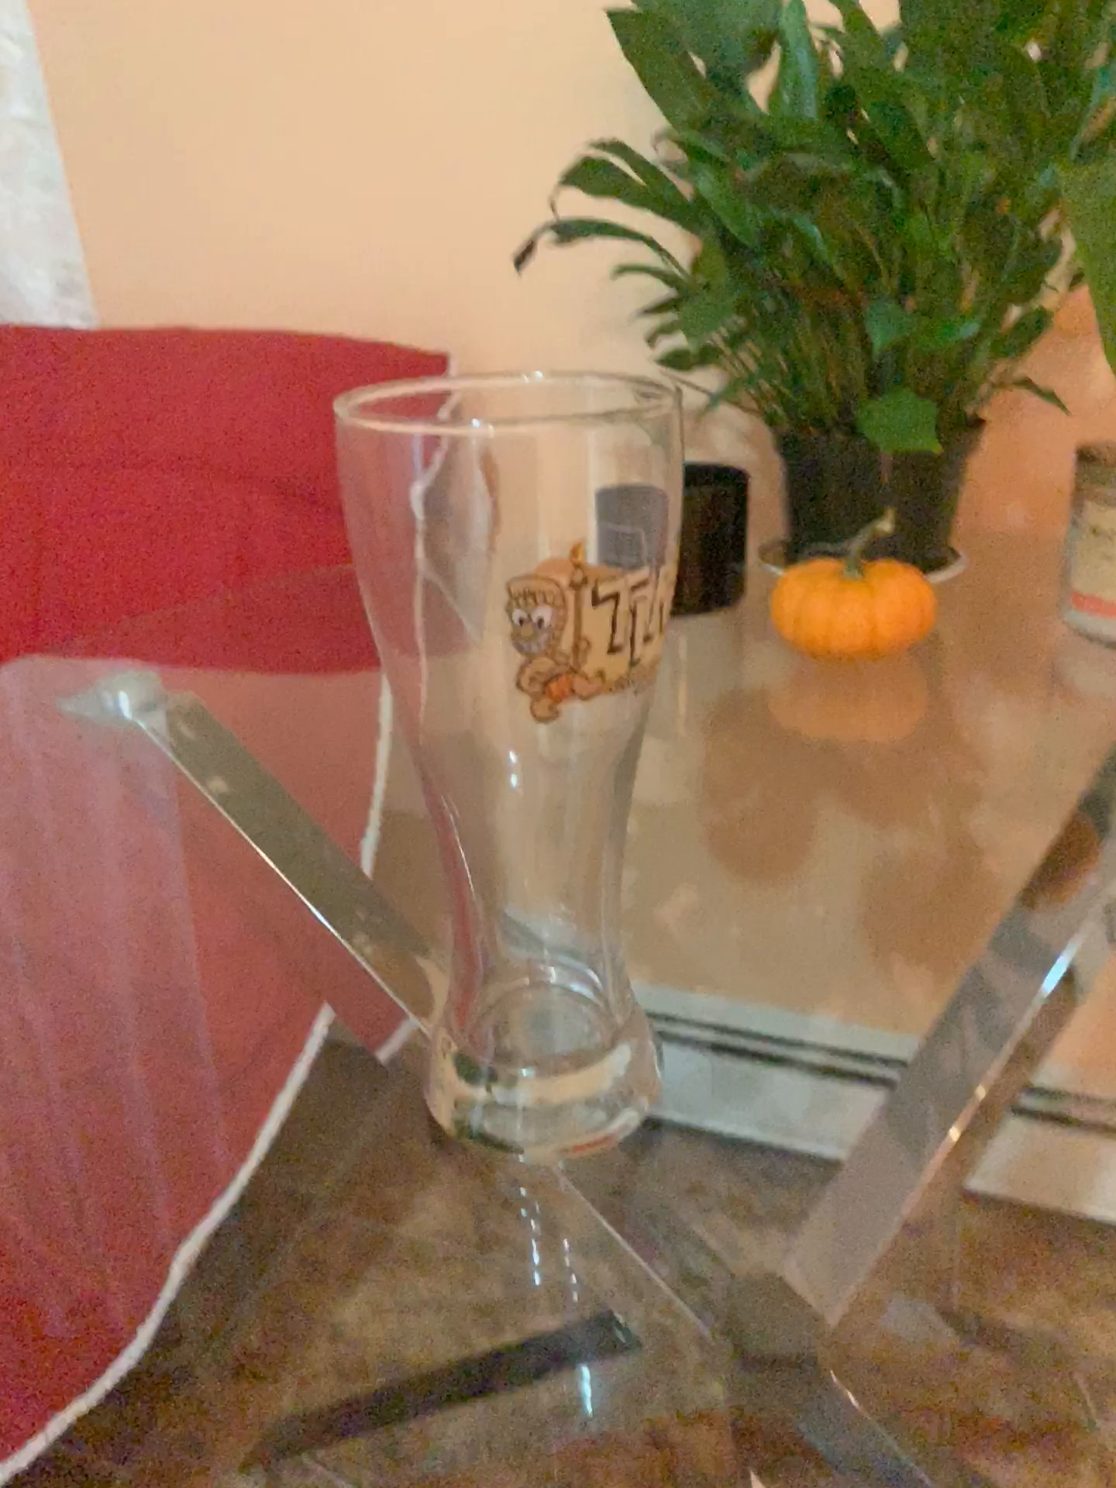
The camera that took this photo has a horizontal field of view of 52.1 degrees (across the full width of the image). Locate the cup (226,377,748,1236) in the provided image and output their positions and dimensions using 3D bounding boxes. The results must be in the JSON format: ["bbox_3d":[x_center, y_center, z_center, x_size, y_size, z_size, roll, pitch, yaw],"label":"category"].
[{"bbox_3d":[-0.010,0.012,0.324,0.100,0.211,0.093,-1,23,1],"label":"cup"}]
